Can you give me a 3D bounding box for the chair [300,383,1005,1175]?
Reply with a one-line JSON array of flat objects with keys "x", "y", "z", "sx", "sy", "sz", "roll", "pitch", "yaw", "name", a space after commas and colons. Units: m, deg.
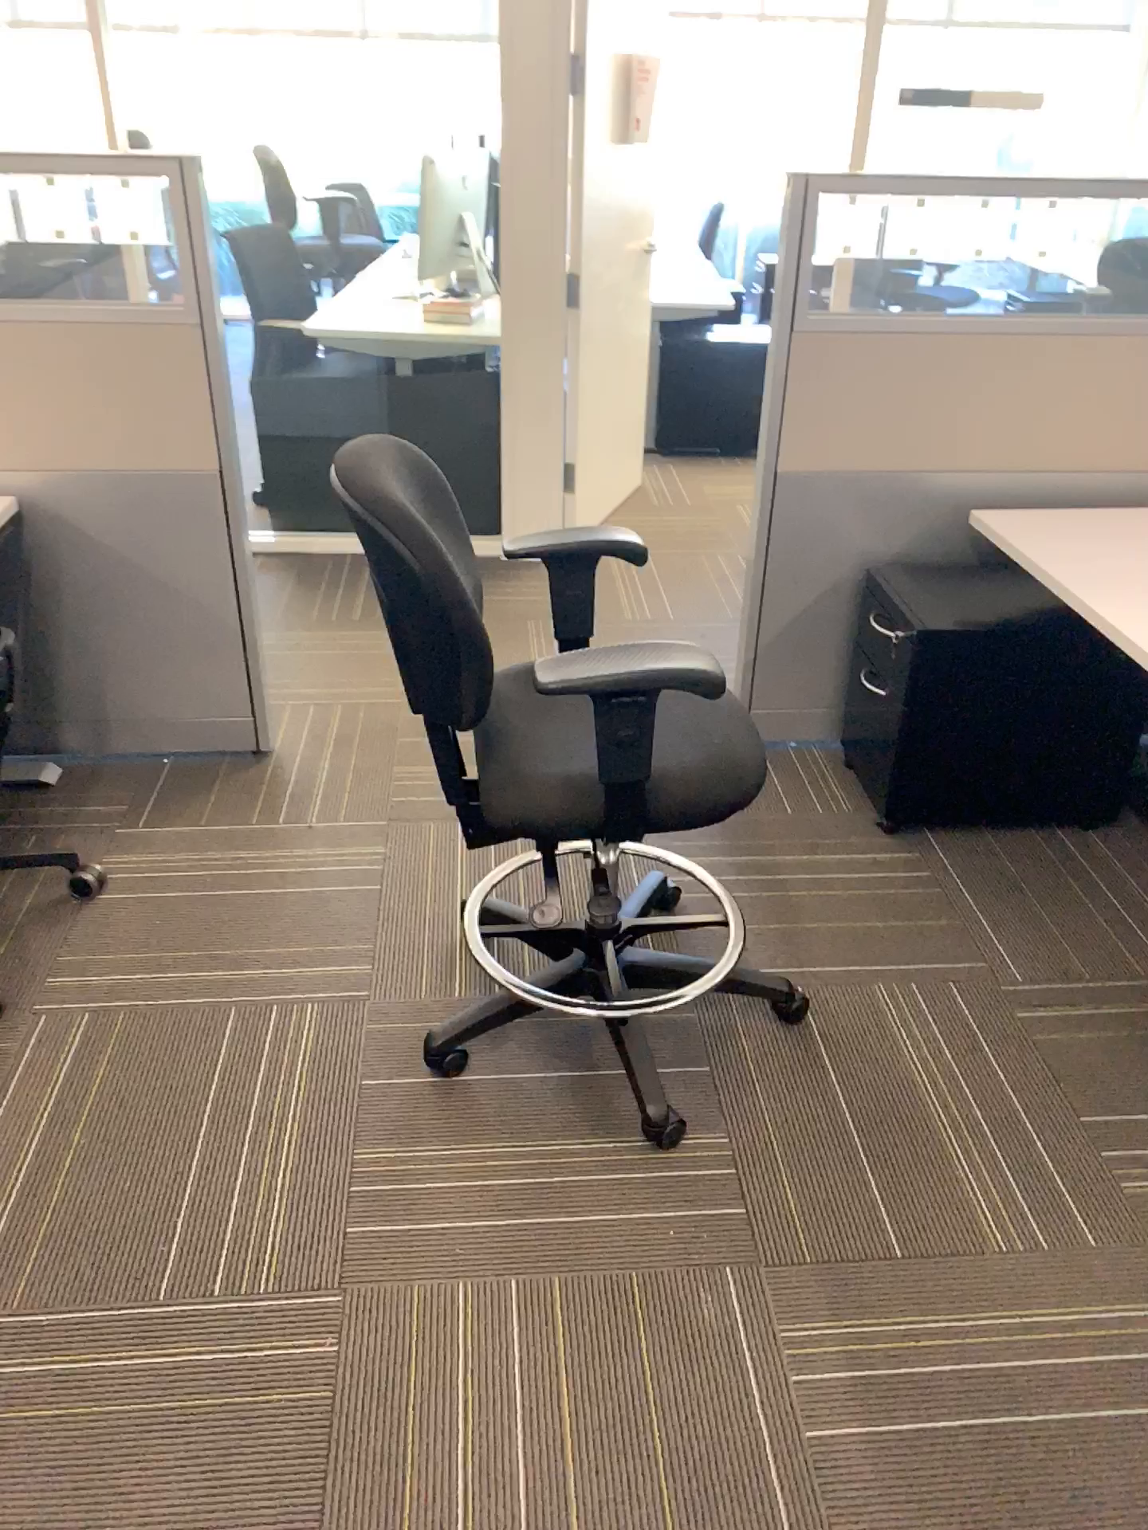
[{"x": 0.044, "y": -0.027, "z": 1.934, "sx": 0.820, "sy": 1.004, "sz": 0.805, "roll": -2, "pitch": 30, "yaw": -7, "name": "chair"}]
